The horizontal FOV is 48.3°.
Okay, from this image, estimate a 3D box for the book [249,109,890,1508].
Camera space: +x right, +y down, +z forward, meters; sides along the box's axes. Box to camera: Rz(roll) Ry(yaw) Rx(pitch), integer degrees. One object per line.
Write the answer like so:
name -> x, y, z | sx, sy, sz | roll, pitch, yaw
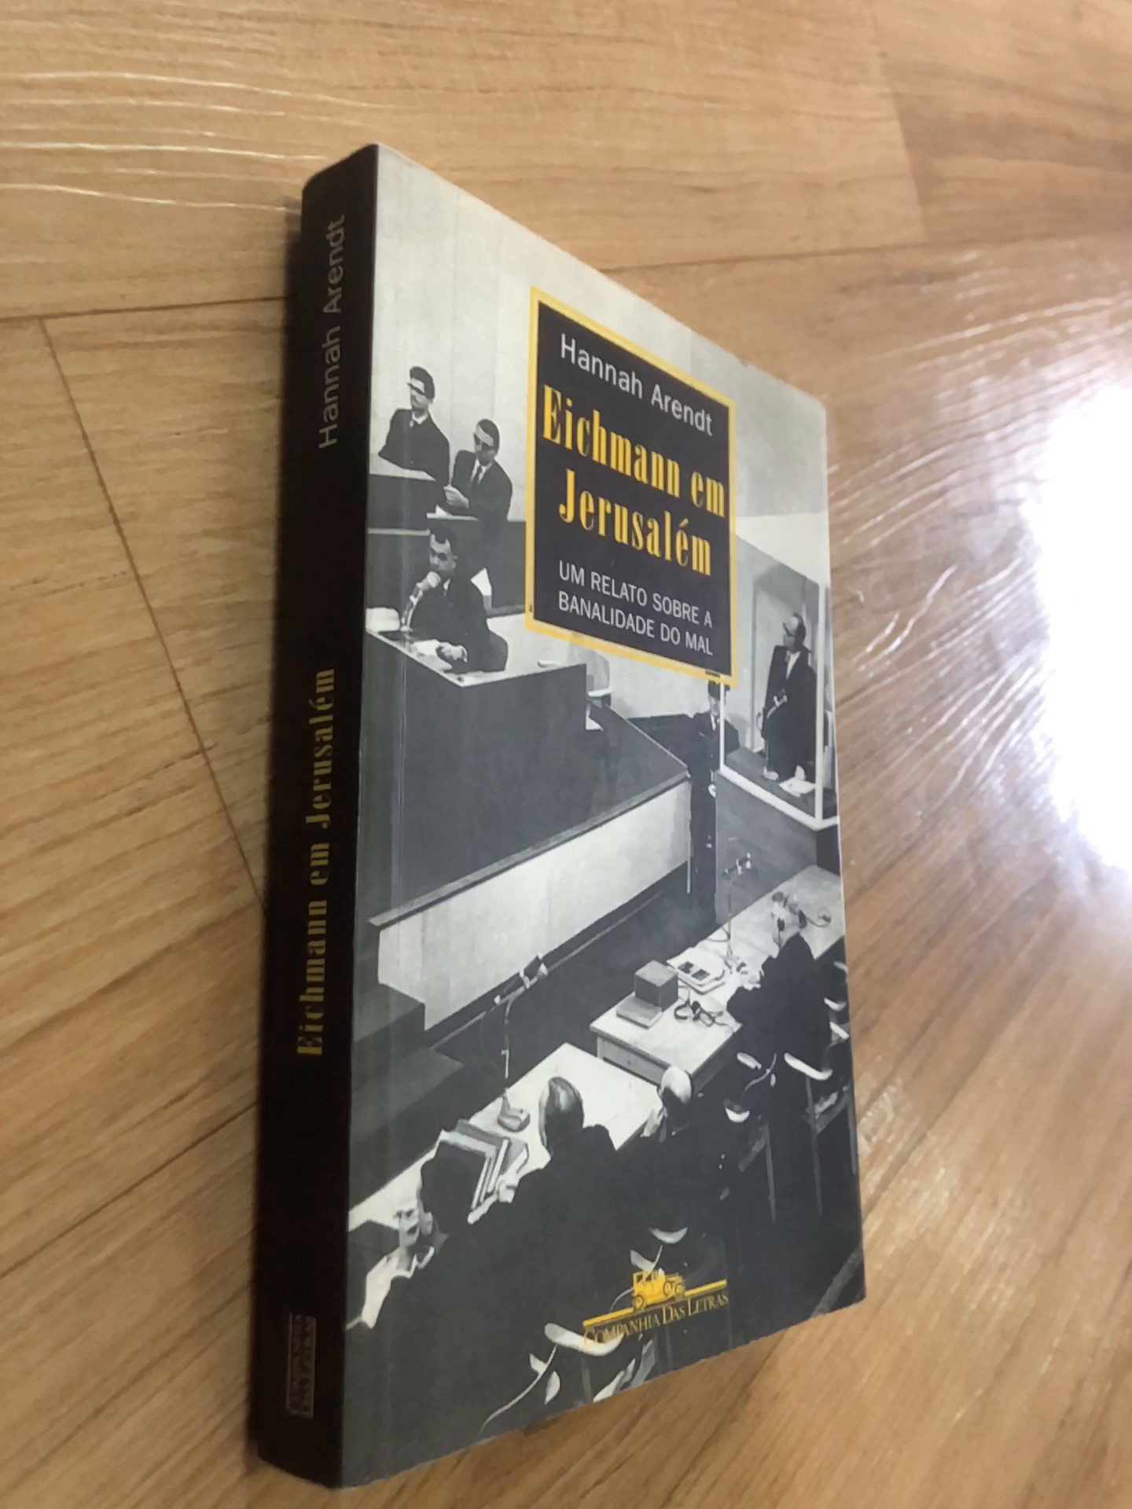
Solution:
book -> 0.011, 0.008, 0.241 | 0.145, 0.023, 0.202 | 10, 75, -47
